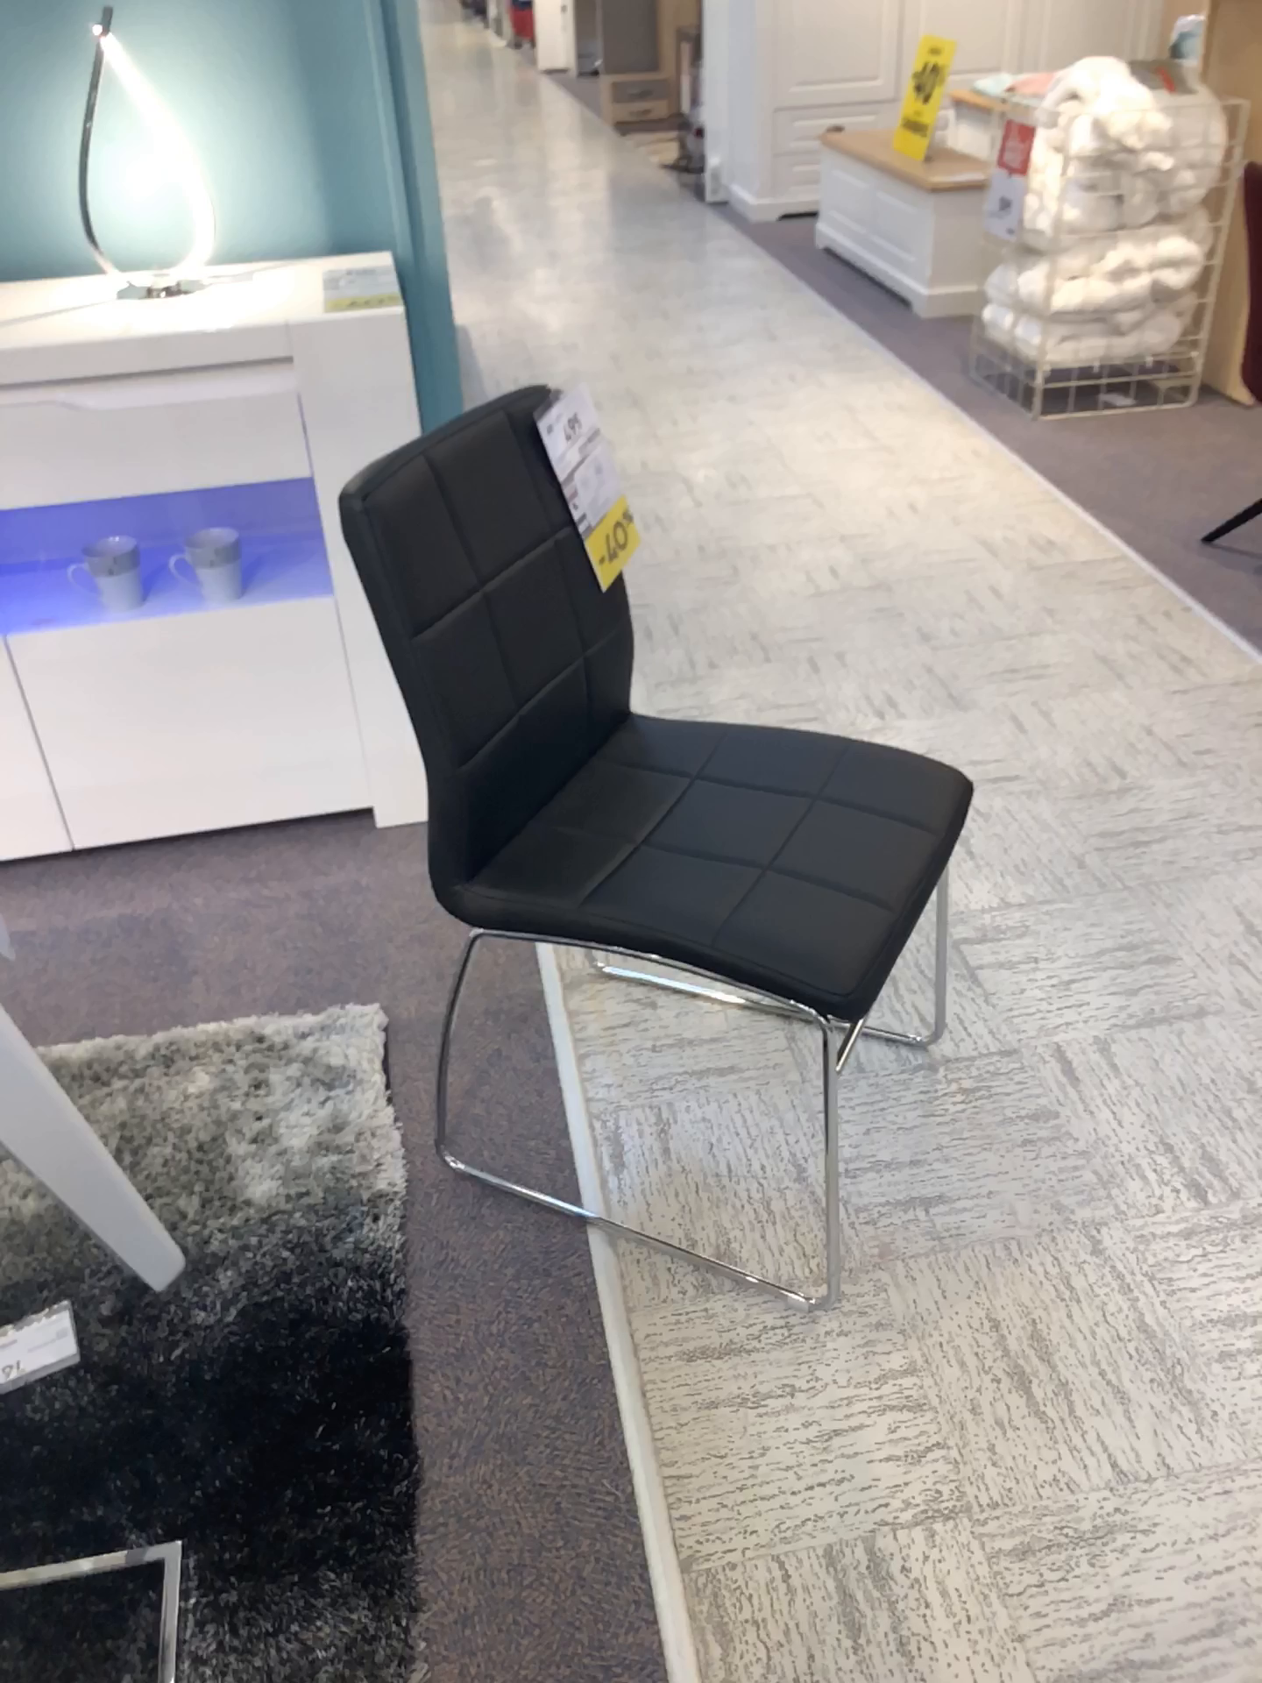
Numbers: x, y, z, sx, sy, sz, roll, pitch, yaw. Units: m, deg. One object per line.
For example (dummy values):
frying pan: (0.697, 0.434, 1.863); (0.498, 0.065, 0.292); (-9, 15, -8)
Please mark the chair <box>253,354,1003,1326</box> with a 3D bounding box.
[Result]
chair: (0.046, -0.025, 1.499); (0.535, 0.825, 0.523); (11, 36, 20)
